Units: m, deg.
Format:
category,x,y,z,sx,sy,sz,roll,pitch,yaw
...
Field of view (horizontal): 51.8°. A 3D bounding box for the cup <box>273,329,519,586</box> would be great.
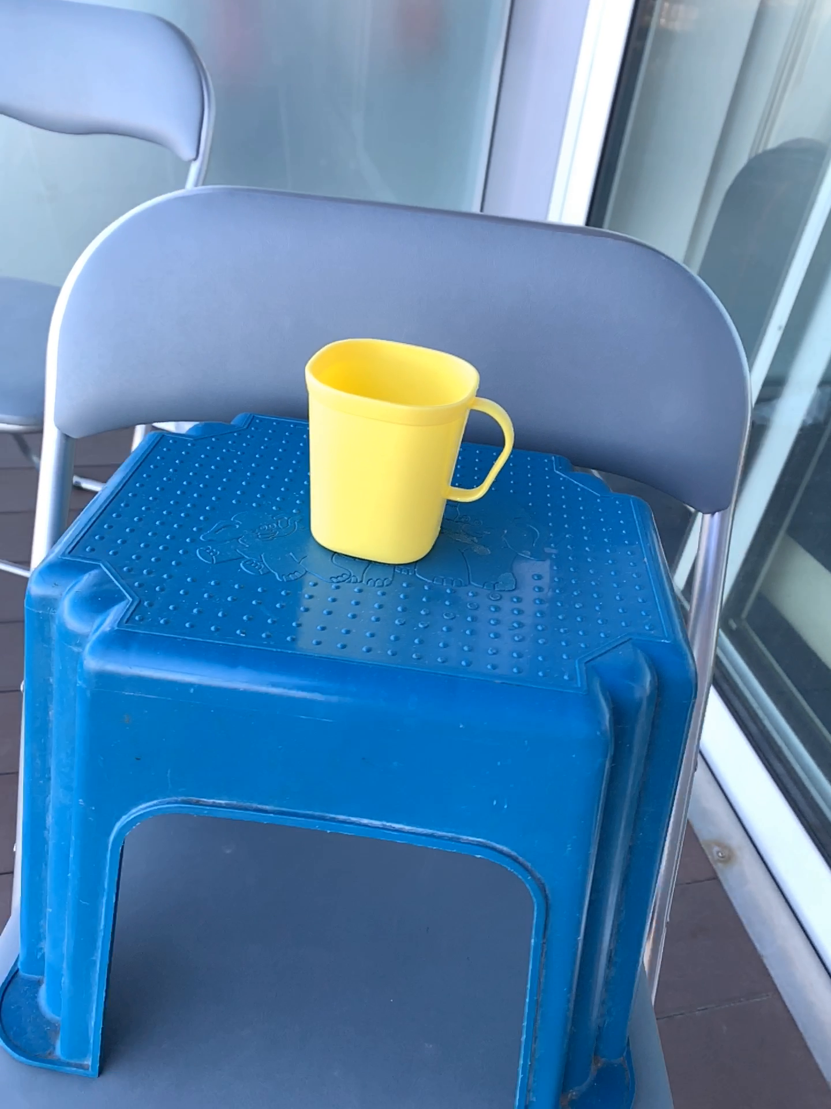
category,x,y,z,sx,sy,sz,roll,pitch,yaw
cup,-0.008,-0.045,0.378,0.089,0.077,0.068,11,33,8
